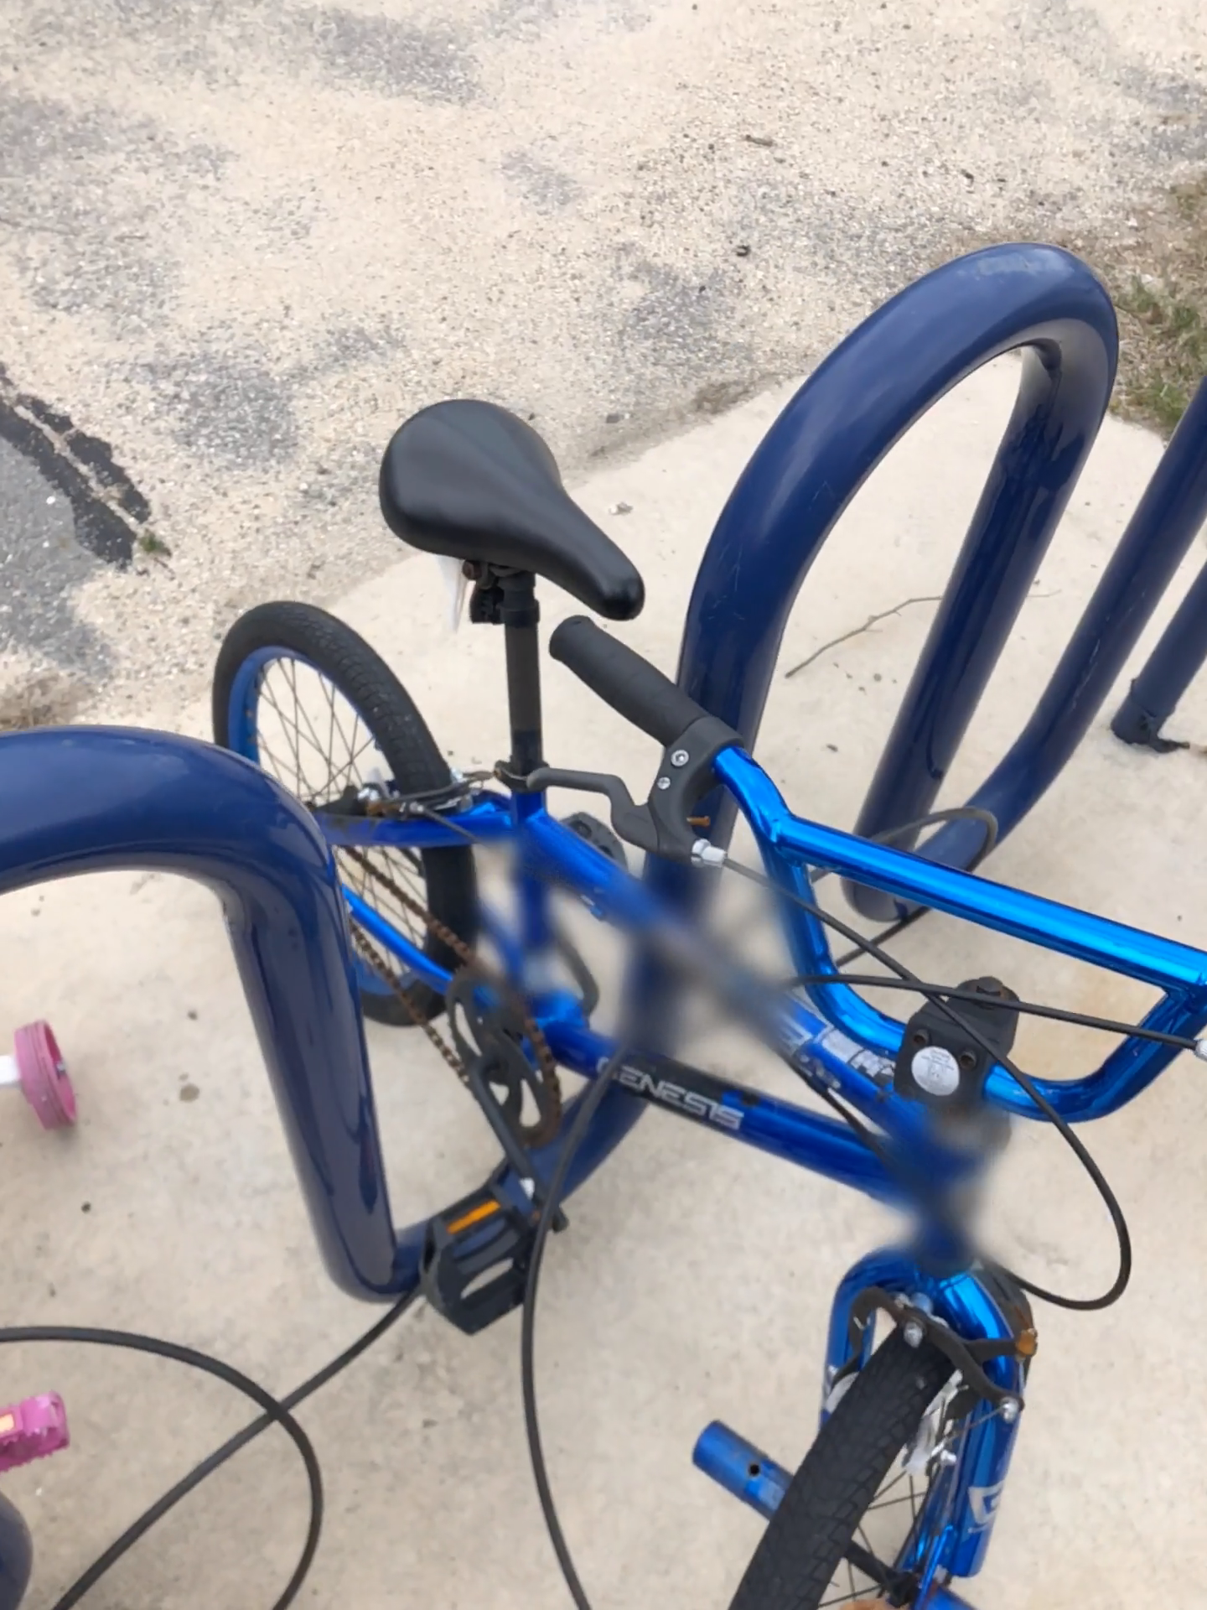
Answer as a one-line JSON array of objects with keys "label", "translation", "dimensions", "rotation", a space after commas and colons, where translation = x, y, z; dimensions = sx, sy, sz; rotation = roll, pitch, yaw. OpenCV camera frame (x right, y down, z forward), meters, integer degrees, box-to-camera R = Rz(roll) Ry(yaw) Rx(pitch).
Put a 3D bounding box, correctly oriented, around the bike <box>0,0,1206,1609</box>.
[{"label": "bike", "translation": [-0.061, 0.058, 1.021], "dimensions": [0.622, 0.841, 1.033], "rotation": [-20, 54, -19]}]
